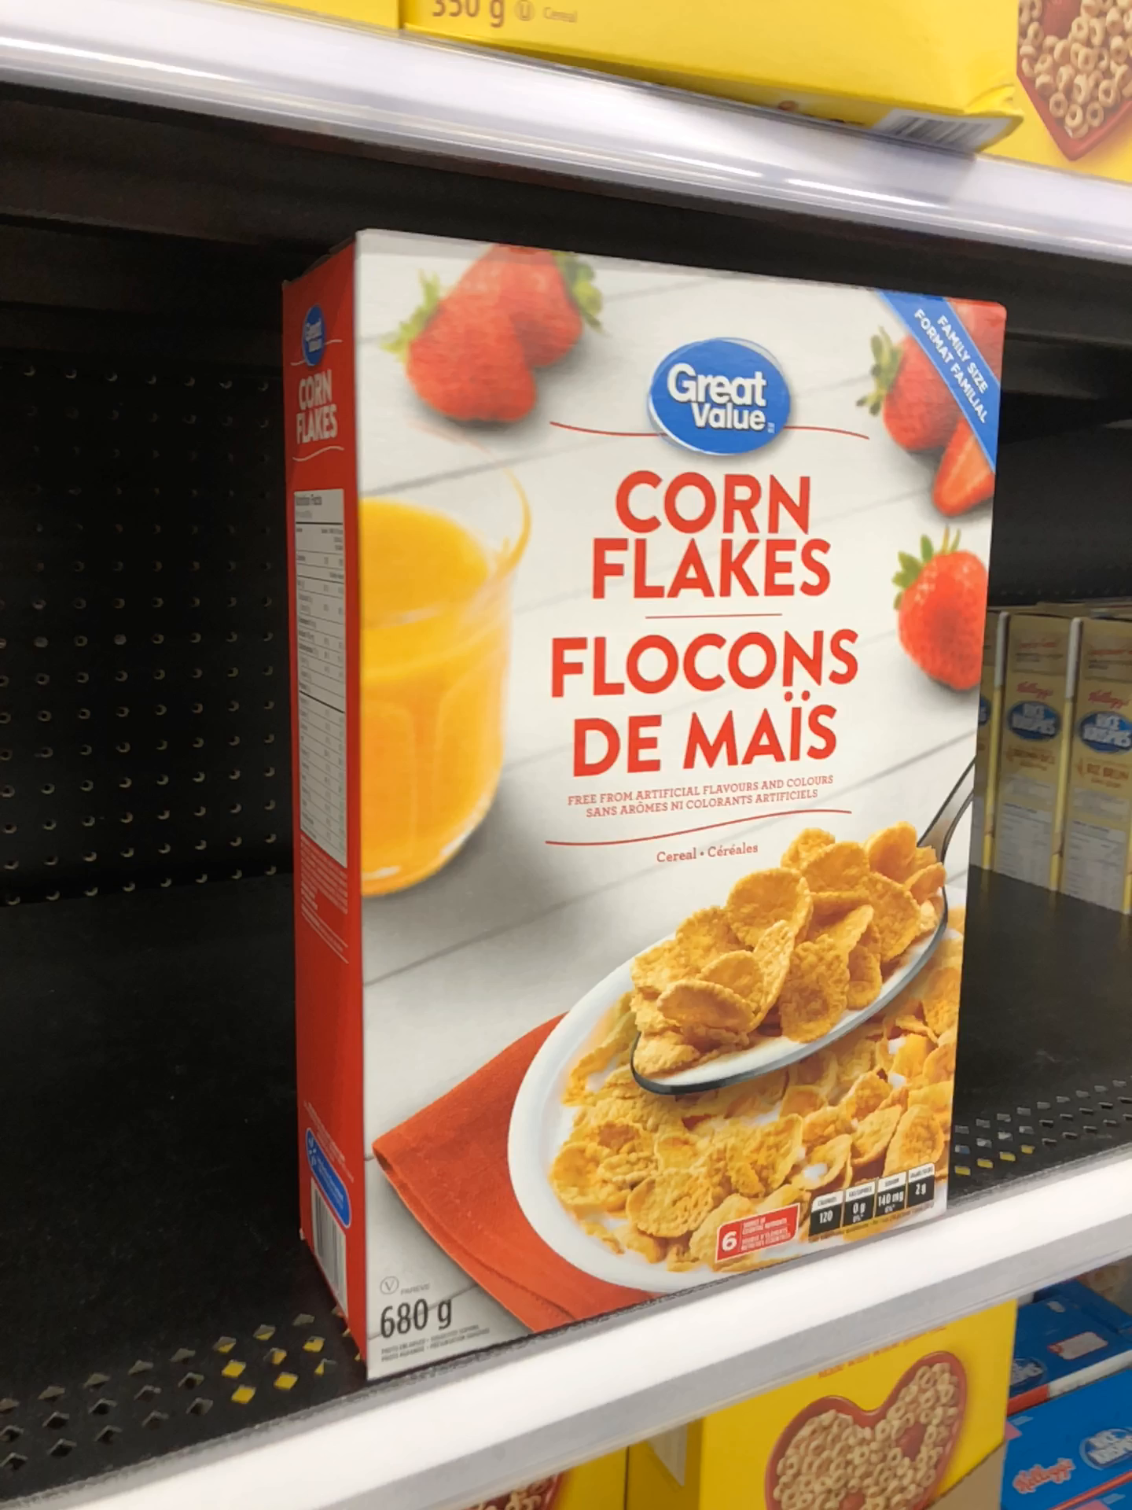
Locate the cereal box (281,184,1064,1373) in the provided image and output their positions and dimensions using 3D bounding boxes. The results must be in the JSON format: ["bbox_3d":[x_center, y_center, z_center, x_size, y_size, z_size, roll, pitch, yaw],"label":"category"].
[{"bbox_3d":[0.035,0.004,0.431,0.240,0.329,0.090,-4,11,-26],"label":"cereal box"}]
